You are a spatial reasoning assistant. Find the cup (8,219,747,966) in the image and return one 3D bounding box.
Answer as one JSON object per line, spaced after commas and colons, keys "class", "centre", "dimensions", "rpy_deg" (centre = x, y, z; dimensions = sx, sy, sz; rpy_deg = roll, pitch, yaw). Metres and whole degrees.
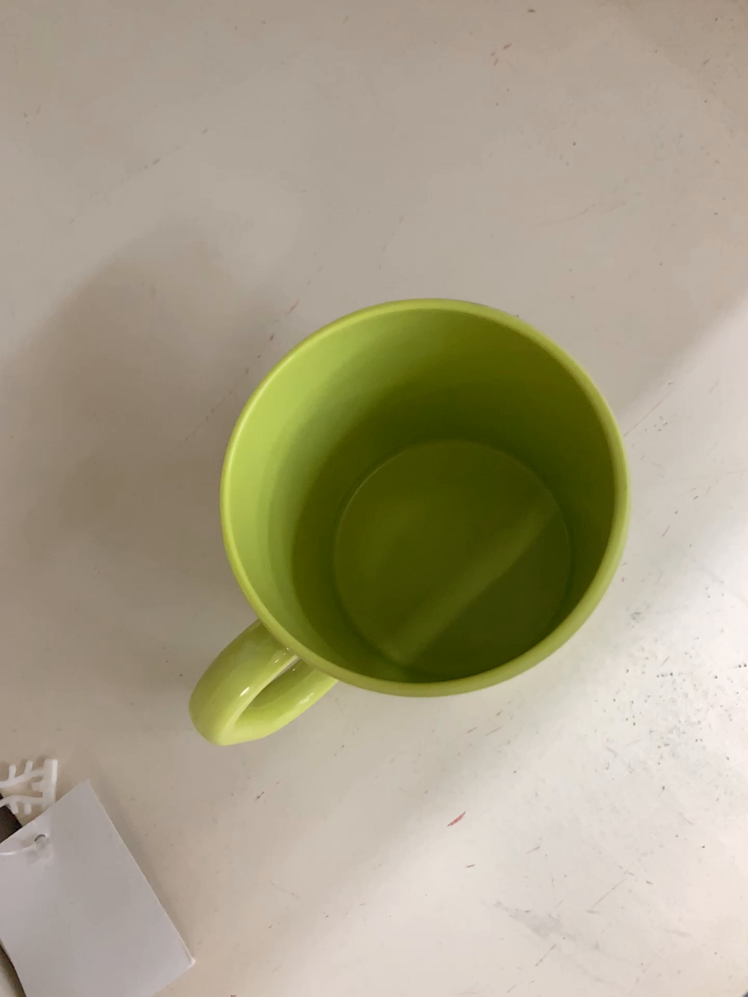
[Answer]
{"class": "cup", "centre": [0.003, 0.018, 0.159], "dimensions": [0.100, 0.070, 0.070], "rpy_deg": [-44, 72, -2]}
